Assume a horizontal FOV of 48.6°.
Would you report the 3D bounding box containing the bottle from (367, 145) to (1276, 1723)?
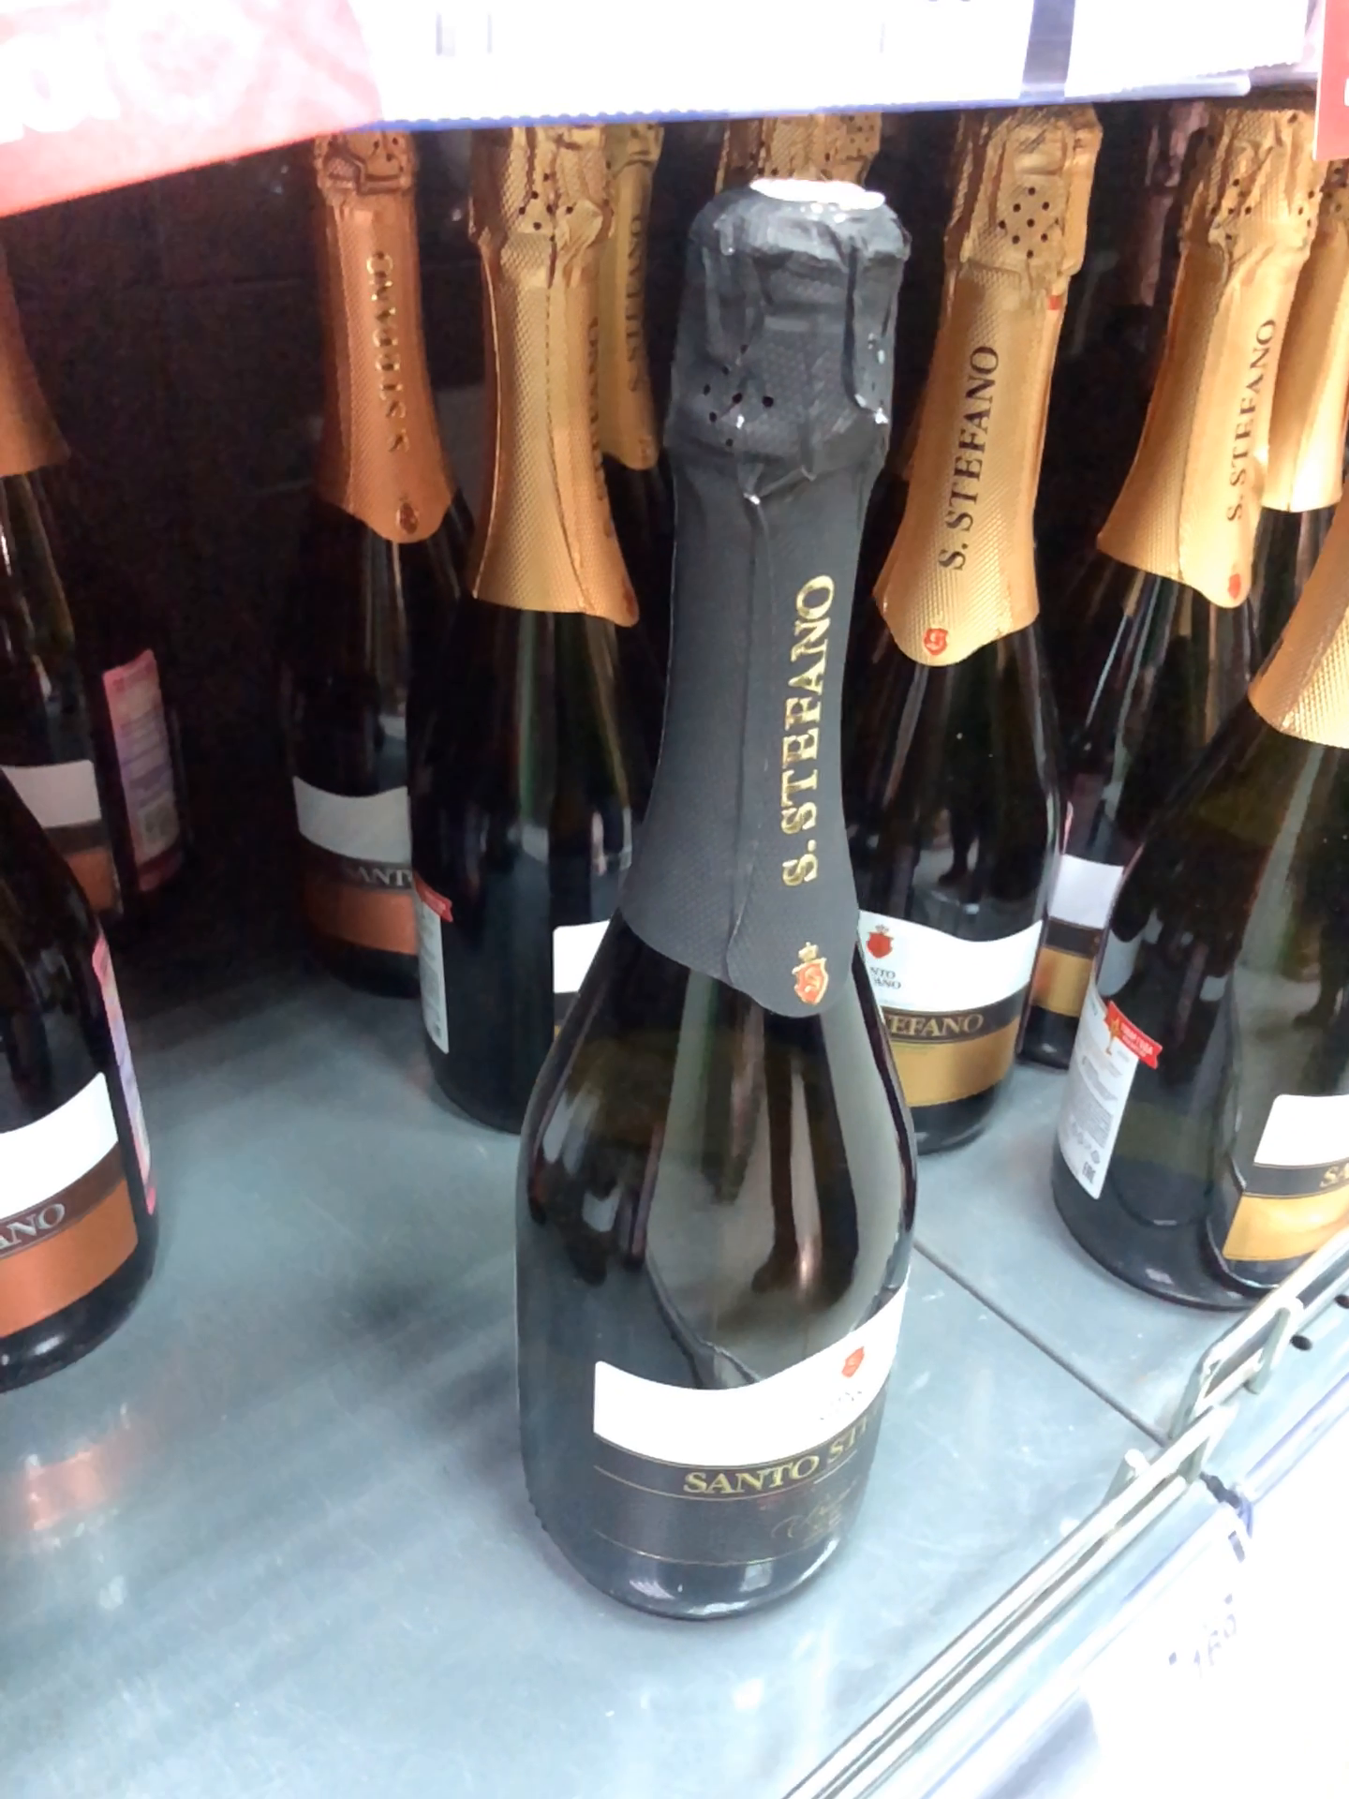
[{"bbox_3d":[0.016,0.018,0.297,0.100,0.288,0.090,-24,41,-35],"label":"bottle"}]
